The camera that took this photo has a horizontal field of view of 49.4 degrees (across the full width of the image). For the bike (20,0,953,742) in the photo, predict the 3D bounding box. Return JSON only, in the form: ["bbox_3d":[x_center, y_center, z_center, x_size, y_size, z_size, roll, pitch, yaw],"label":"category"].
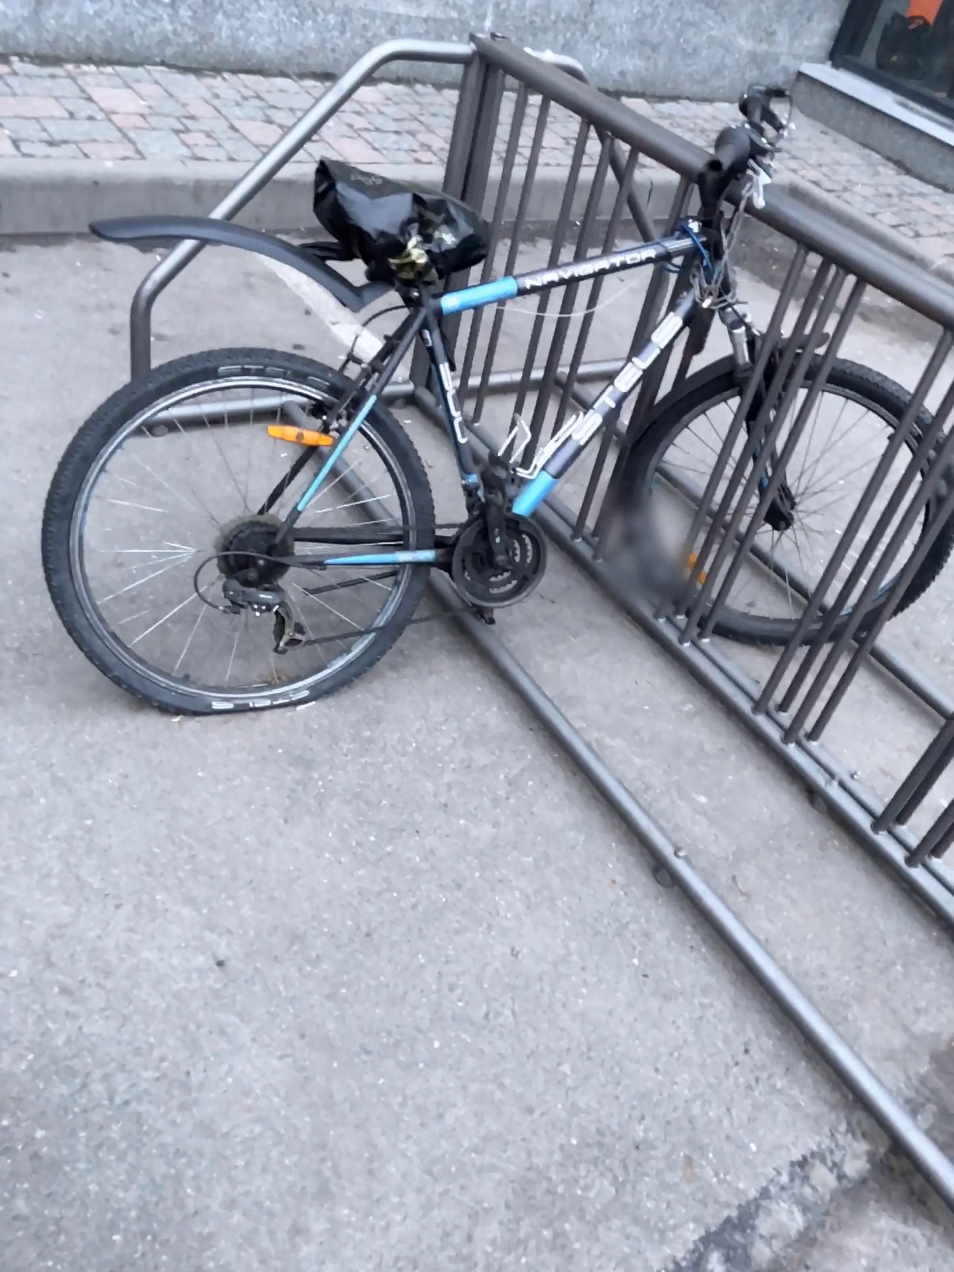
[{"bbox_3d":[0.092,-0.421,1.798,1.586,1.050,0.537,-1,42,-15],"label":"bike"}]
